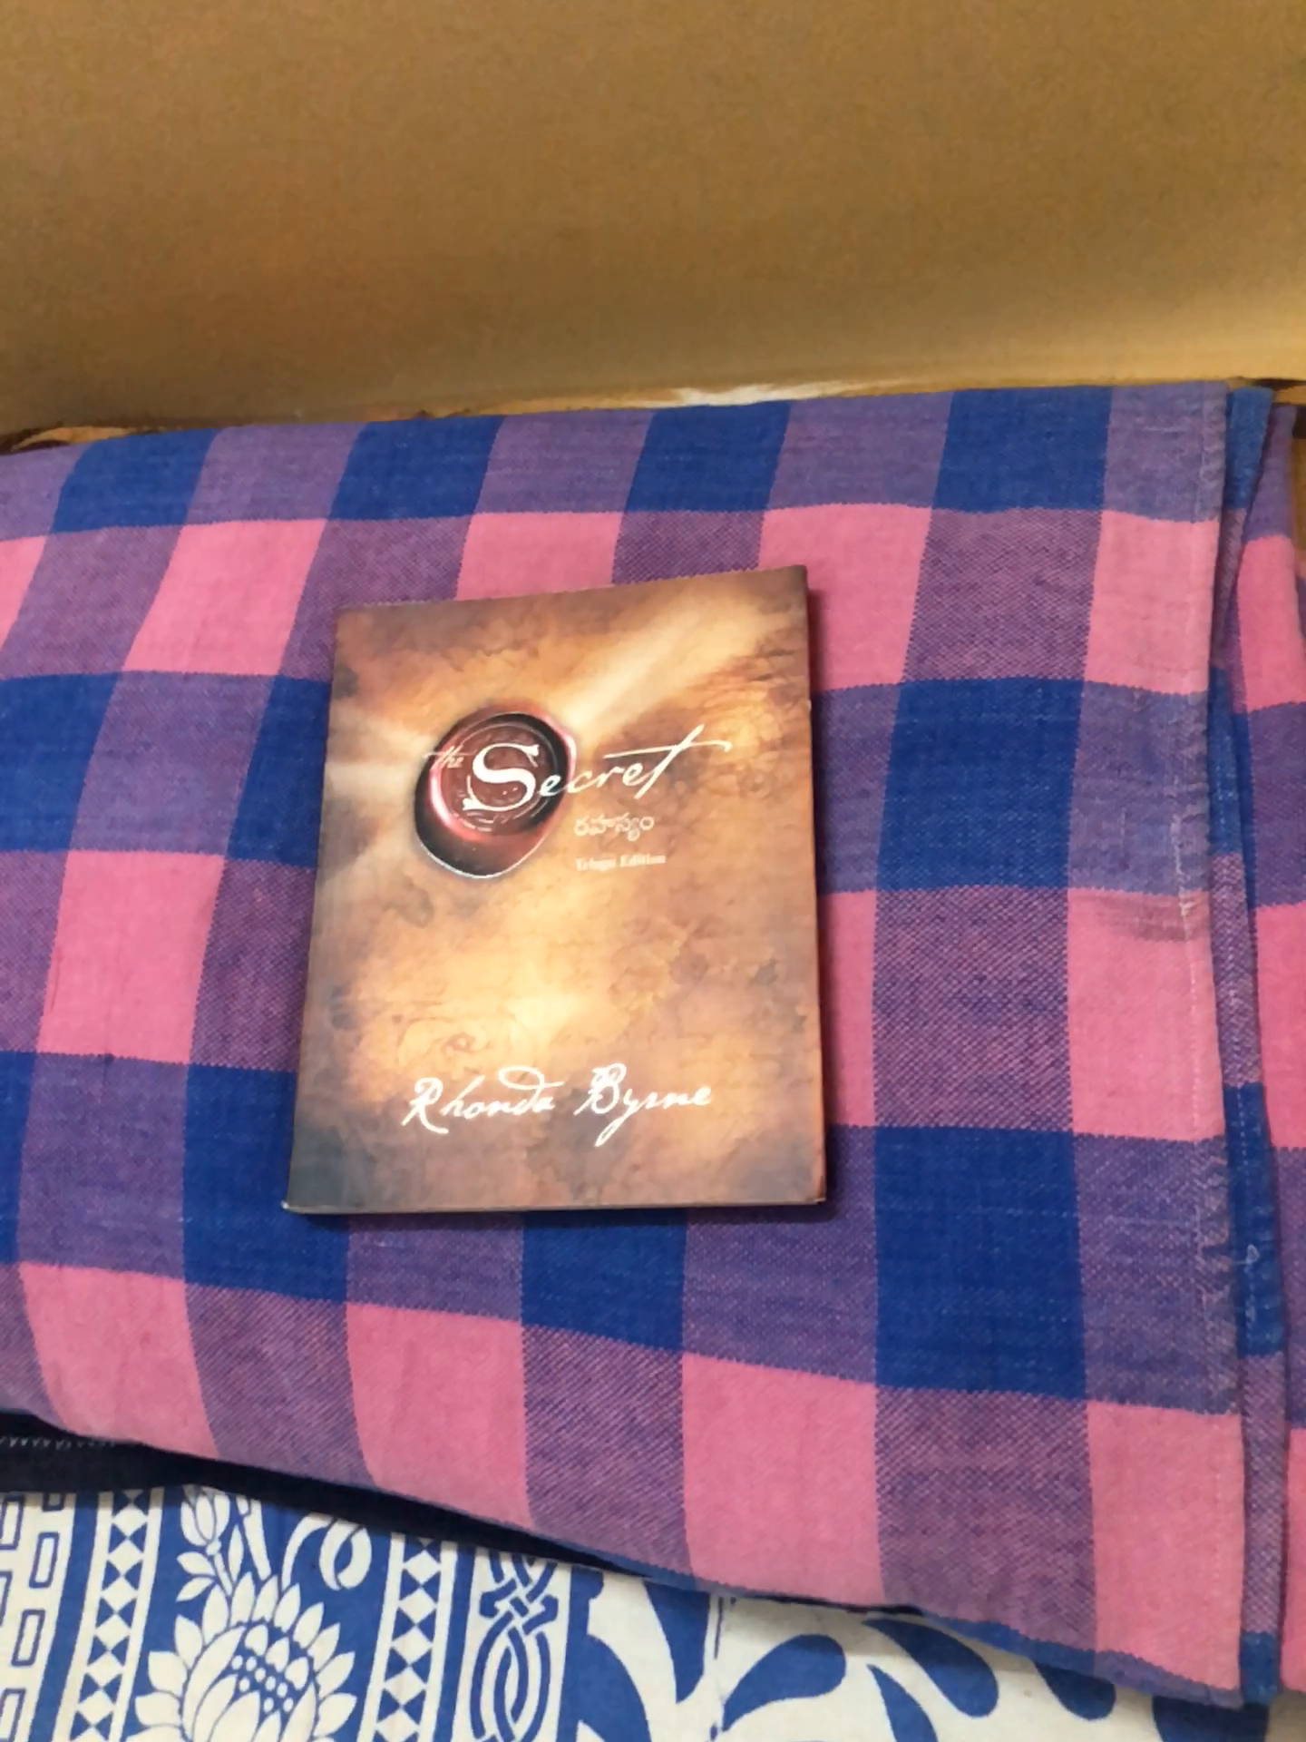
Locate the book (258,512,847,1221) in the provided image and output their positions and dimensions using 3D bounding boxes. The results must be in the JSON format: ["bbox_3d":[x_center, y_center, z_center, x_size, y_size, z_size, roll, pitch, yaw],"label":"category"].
[{"bbox_3d":[-0.024,-0.002,0.397,0.150,0.020,0.190,-4,68,16],"label":"book"}]
